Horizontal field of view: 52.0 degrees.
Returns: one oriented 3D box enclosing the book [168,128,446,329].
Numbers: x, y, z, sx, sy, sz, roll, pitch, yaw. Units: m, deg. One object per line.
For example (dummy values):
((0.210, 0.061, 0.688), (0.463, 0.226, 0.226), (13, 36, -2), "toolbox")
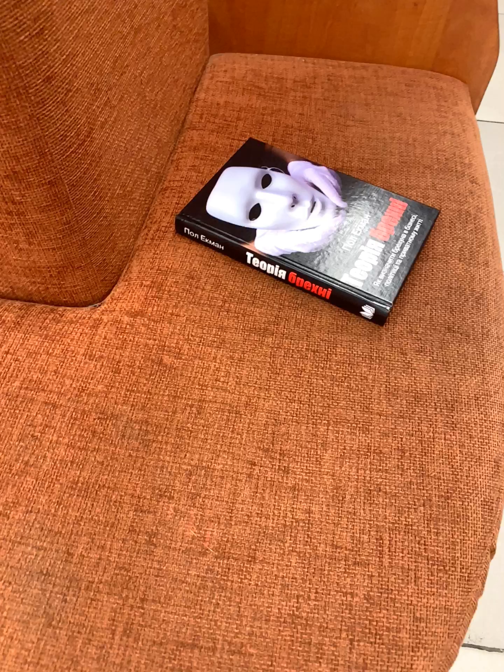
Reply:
((0.053, -0.110, 0.482), (0.209, 0.030, 0.150), (24, 59, 15), "book")
